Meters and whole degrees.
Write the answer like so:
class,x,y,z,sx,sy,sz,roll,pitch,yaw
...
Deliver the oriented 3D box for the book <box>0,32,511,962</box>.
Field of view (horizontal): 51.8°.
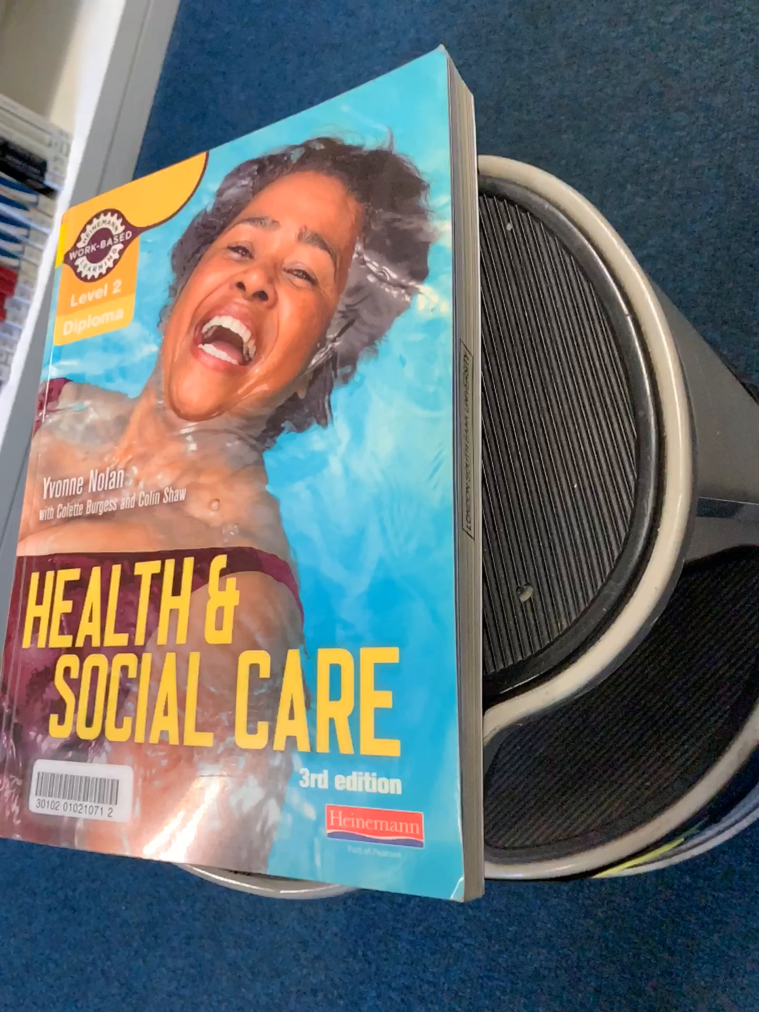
class,x,y,z,sx,sy,sz,roll,pitch,yaw
book,-0.057,-0.009,0.280,0.201,0.030,0.271,-7,74,28
